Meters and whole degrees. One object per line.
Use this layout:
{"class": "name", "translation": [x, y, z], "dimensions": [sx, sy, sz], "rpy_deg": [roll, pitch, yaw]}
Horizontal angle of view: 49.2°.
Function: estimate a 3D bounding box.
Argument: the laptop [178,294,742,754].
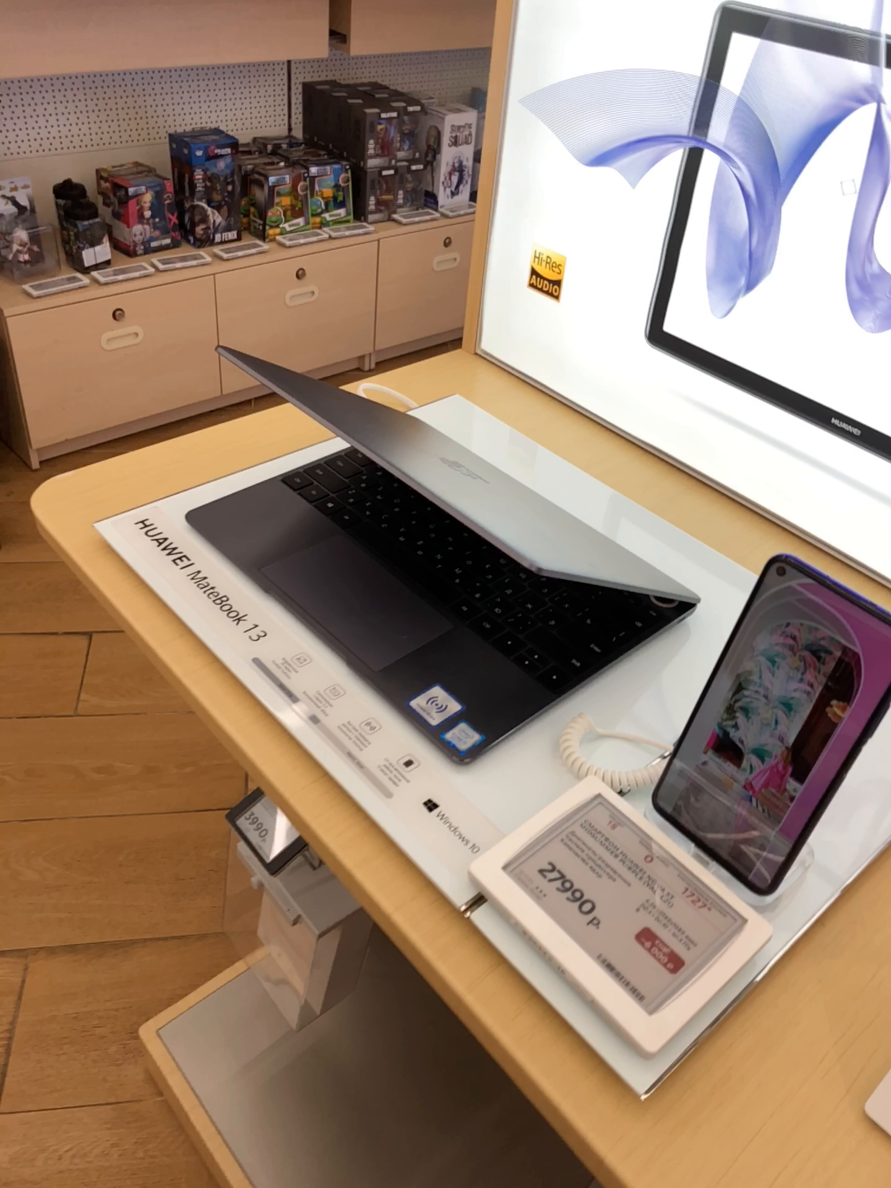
{"class": "laptop", "translation": [-0.001, -0.066, 0.611], "dimensions": [0.204, 0.106, 0.272], "rpy_deg": [-27, 50, -34]}
